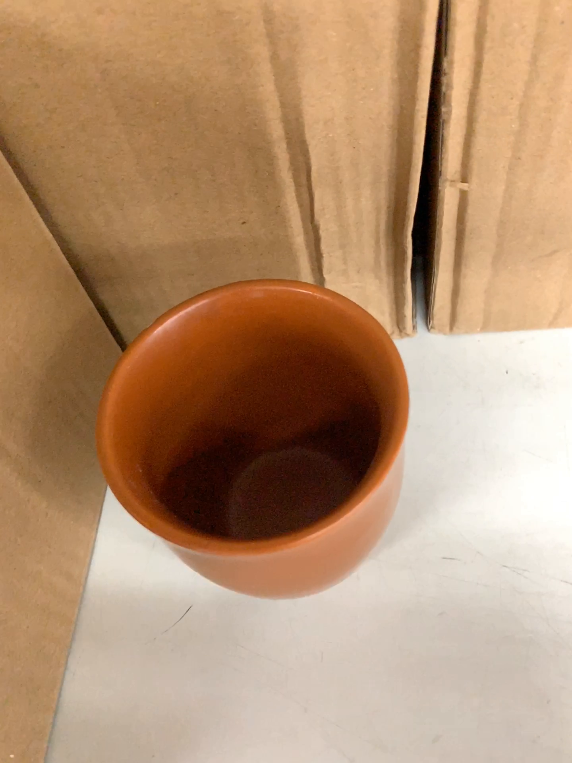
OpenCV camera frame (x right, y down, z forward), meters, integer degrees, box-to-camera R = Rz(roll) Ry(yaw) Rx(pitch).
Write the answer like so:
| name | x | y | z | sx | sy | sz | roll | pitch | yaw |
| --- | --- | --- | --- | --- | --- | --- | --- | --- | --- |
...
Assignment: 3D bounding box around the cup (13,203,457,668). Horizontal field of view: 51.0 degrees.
| name | x | y | z | sx | sy | sz | roll | pitch | yaw |
| --- | --- | --- | --- | --- | --- | --- | --- | --- | --- |
| cup | -0.009 | 0.018 | 0.159 | 0.070 | 0.080 | 0.070 | -5 | 58 | 7 |
